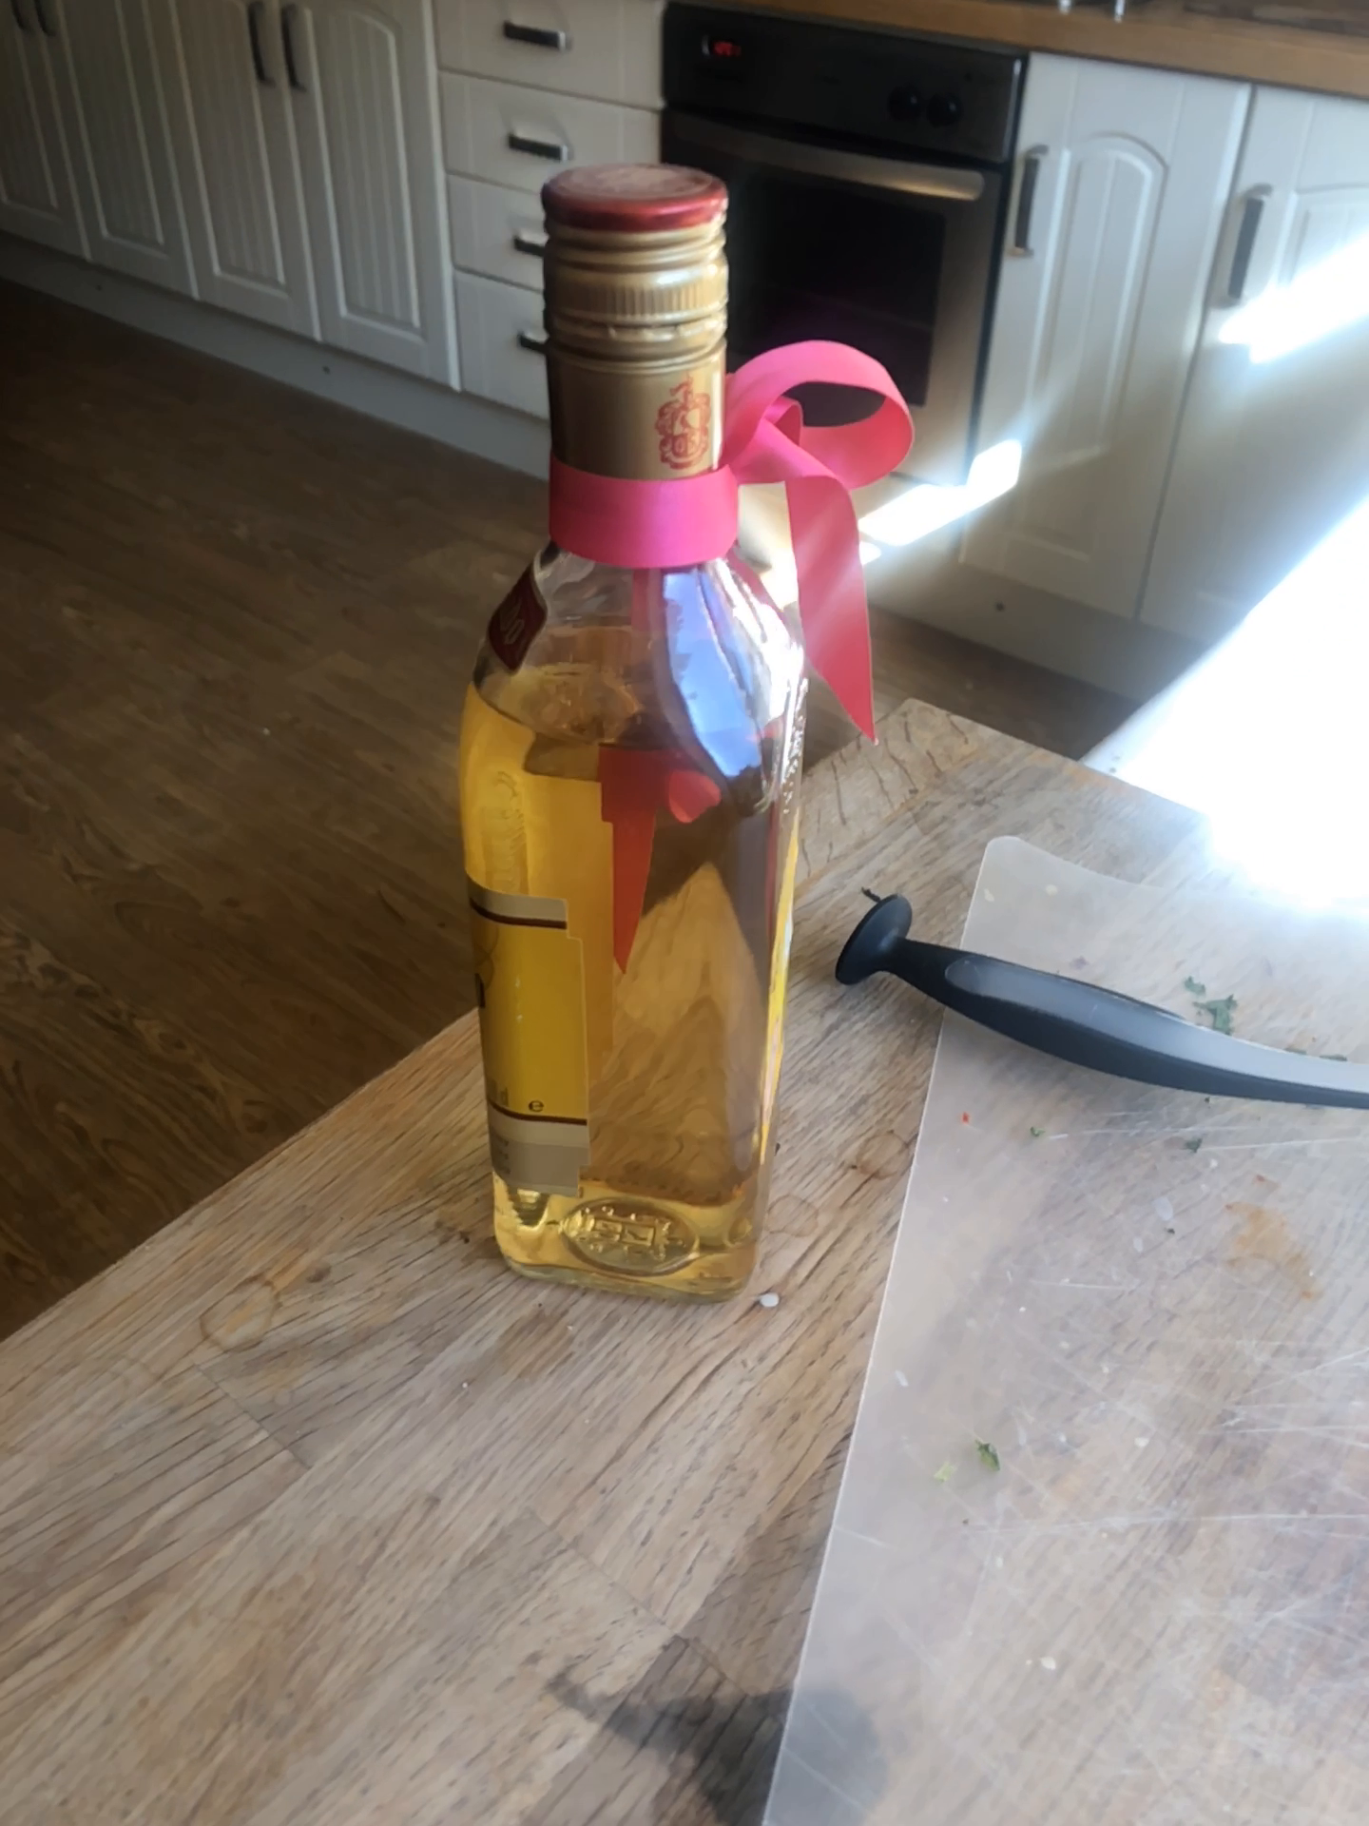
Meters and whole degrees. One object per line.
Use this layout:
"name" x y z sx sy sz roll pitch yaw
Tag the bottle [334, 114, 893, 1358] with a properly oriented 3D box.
"bottle" -0.007 -0.021 0.298 0.070 0.228 0.081 6 38 6
